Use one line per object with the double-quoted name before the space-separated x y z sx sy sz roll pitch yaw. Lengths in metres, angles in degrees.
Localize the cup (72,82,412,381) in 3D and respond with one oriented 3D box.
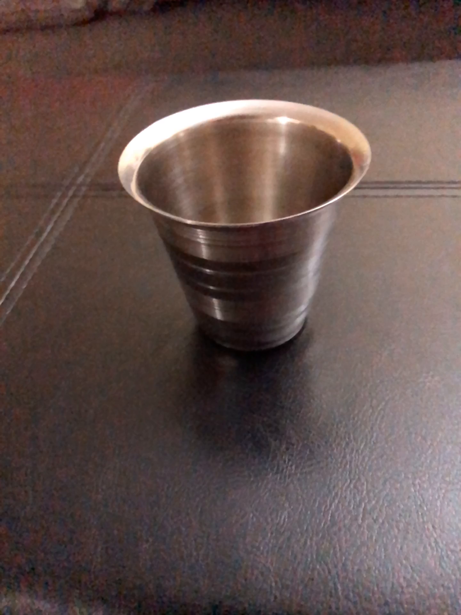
"cup" 0.009 -0.028 0.162 0.074 0.052 0.067 -4 43 4
